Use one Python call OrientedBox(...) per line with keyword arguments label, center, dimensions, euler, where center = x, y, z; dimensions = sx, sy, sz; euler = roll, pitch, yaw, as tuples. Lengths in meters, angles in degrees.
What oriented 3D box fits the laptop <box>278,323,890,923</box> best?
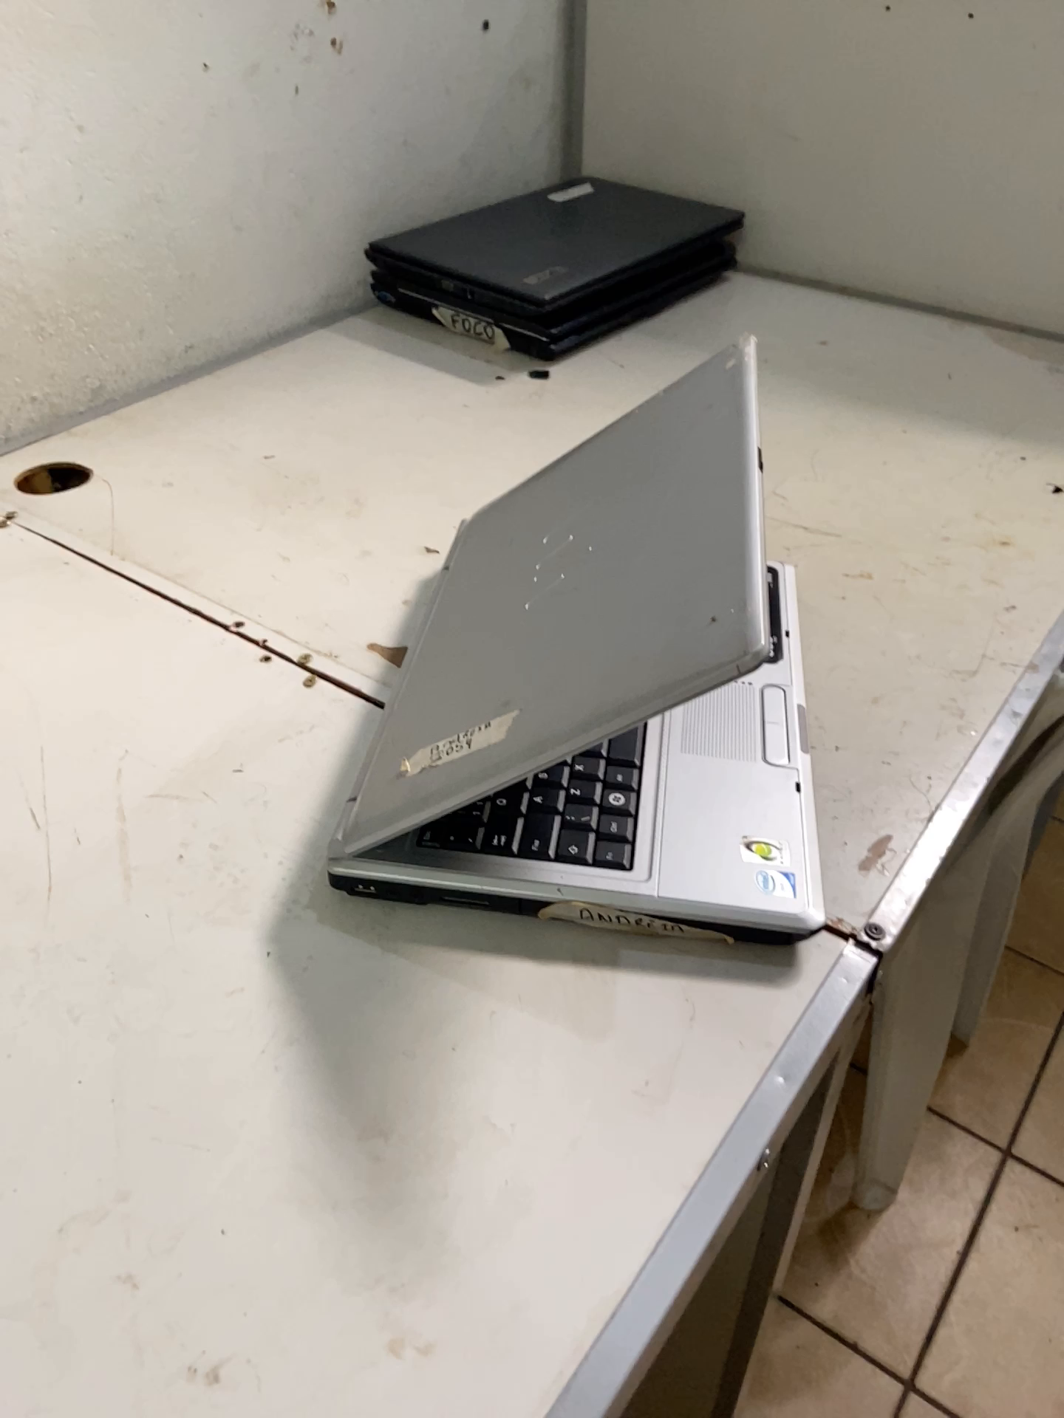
OrientedBox(label="laptop", center=(0.040, -0.075, 0.607), dimensions=(0.242, 0.153, 0.337), euler=(5, 38, 6))
